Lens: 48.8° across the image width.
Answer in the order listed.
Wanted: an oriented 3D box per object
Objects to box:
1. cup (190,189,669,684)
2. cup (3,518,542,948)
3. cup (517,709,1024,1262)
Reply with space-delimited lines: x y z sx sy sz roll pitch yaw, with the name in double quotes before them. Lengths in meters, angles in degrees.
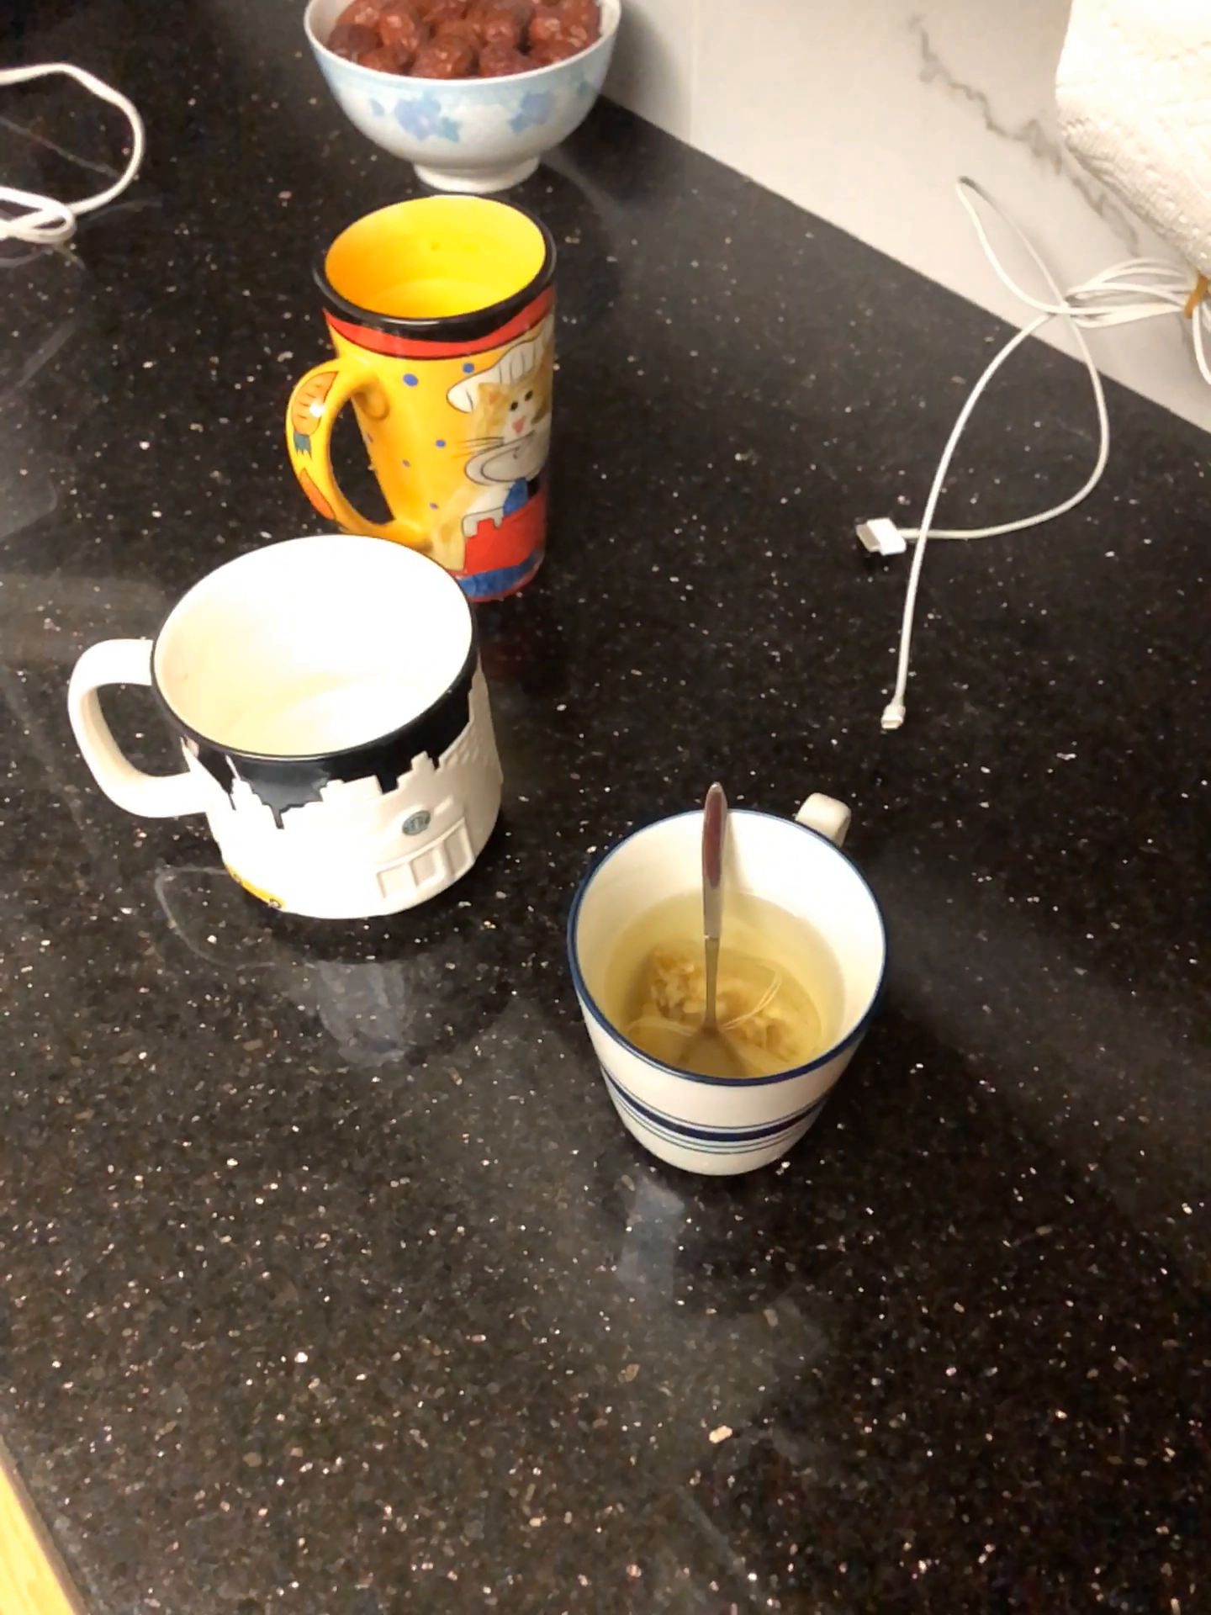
"cup" -0.060 -0.149 0.525 0.100 0.100 0.150 30 58 22
"cup" -0.101 -0.027 0.454 0.140 0.080 0.110 5 52 5
"cup" 0.049 0.047 0.390 0.090 0.060 0.120 28 58 21
